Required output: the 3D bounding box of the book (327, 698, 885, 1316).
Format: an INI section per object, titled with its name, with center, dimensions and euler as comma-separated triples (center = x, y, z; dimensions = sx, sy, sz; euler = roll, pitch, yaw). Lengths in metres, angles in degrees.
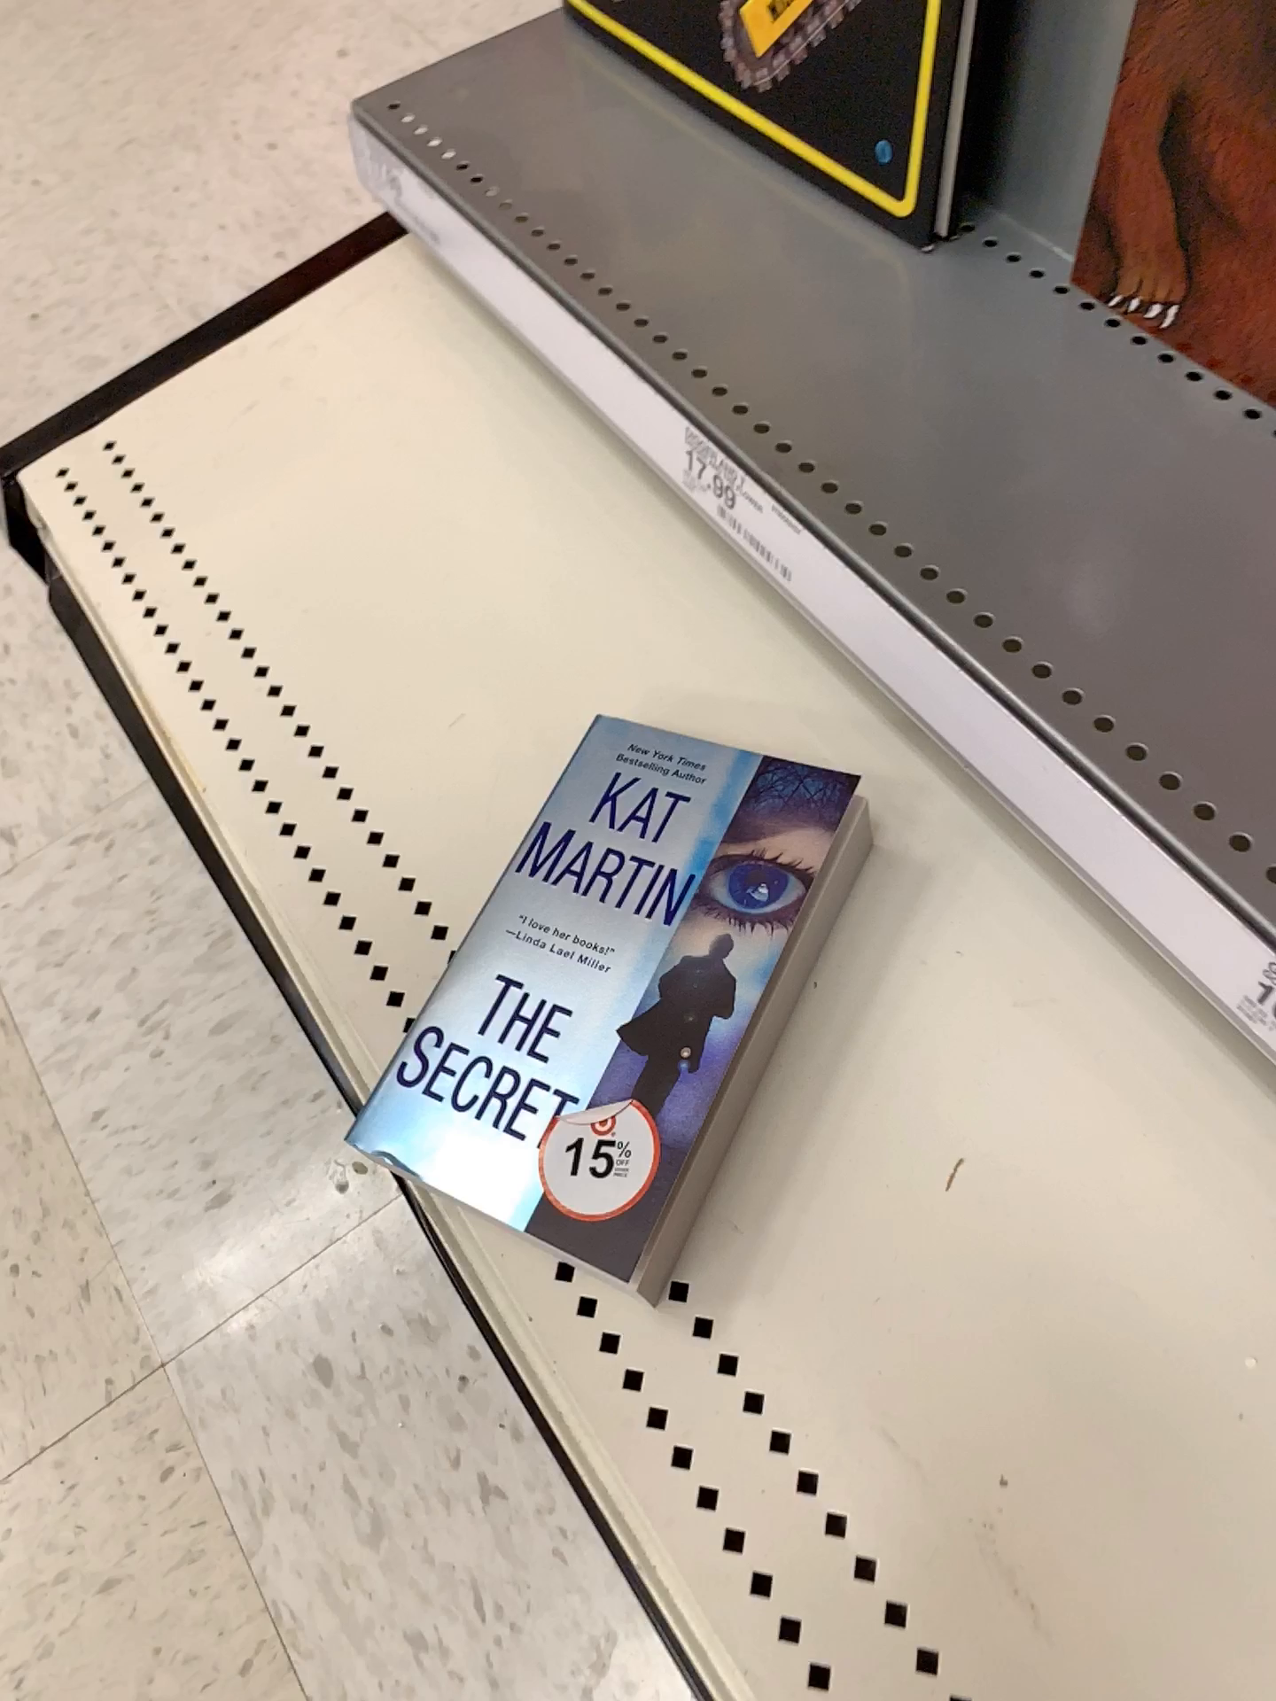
[book]
center = -0.005, 0.041, 0.411
dimensions = 0.106, 0.040, 0.164
euler = 19, 68, 25
